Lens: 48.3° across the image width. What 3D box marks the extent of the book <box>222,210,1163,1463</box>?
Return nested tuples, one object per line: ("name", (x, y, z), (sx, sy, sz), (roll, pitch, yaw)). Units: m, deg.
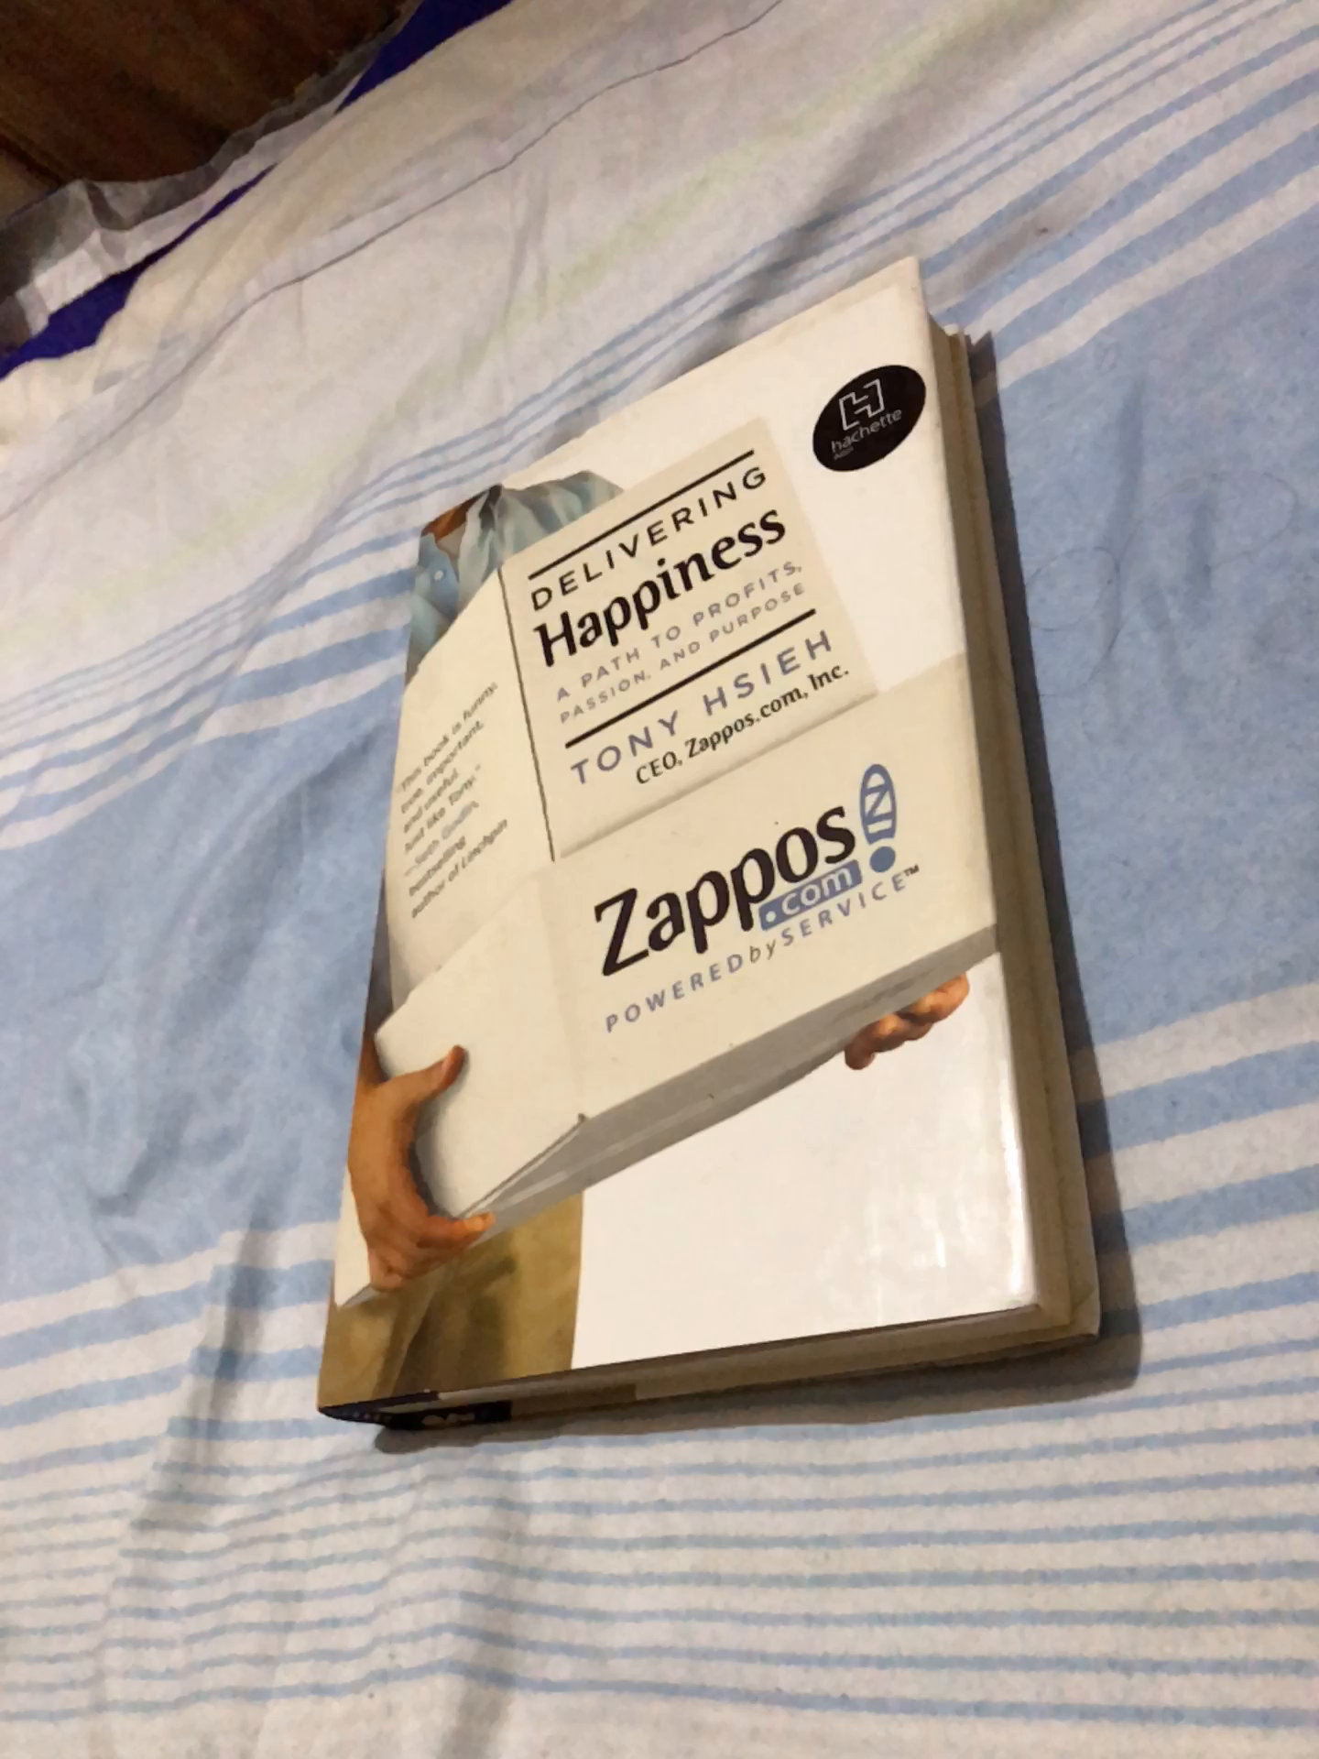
("book", (0.000, -0.009, 0.323), (0.171, 0.050, 0.240), (-19, 54, 31))
